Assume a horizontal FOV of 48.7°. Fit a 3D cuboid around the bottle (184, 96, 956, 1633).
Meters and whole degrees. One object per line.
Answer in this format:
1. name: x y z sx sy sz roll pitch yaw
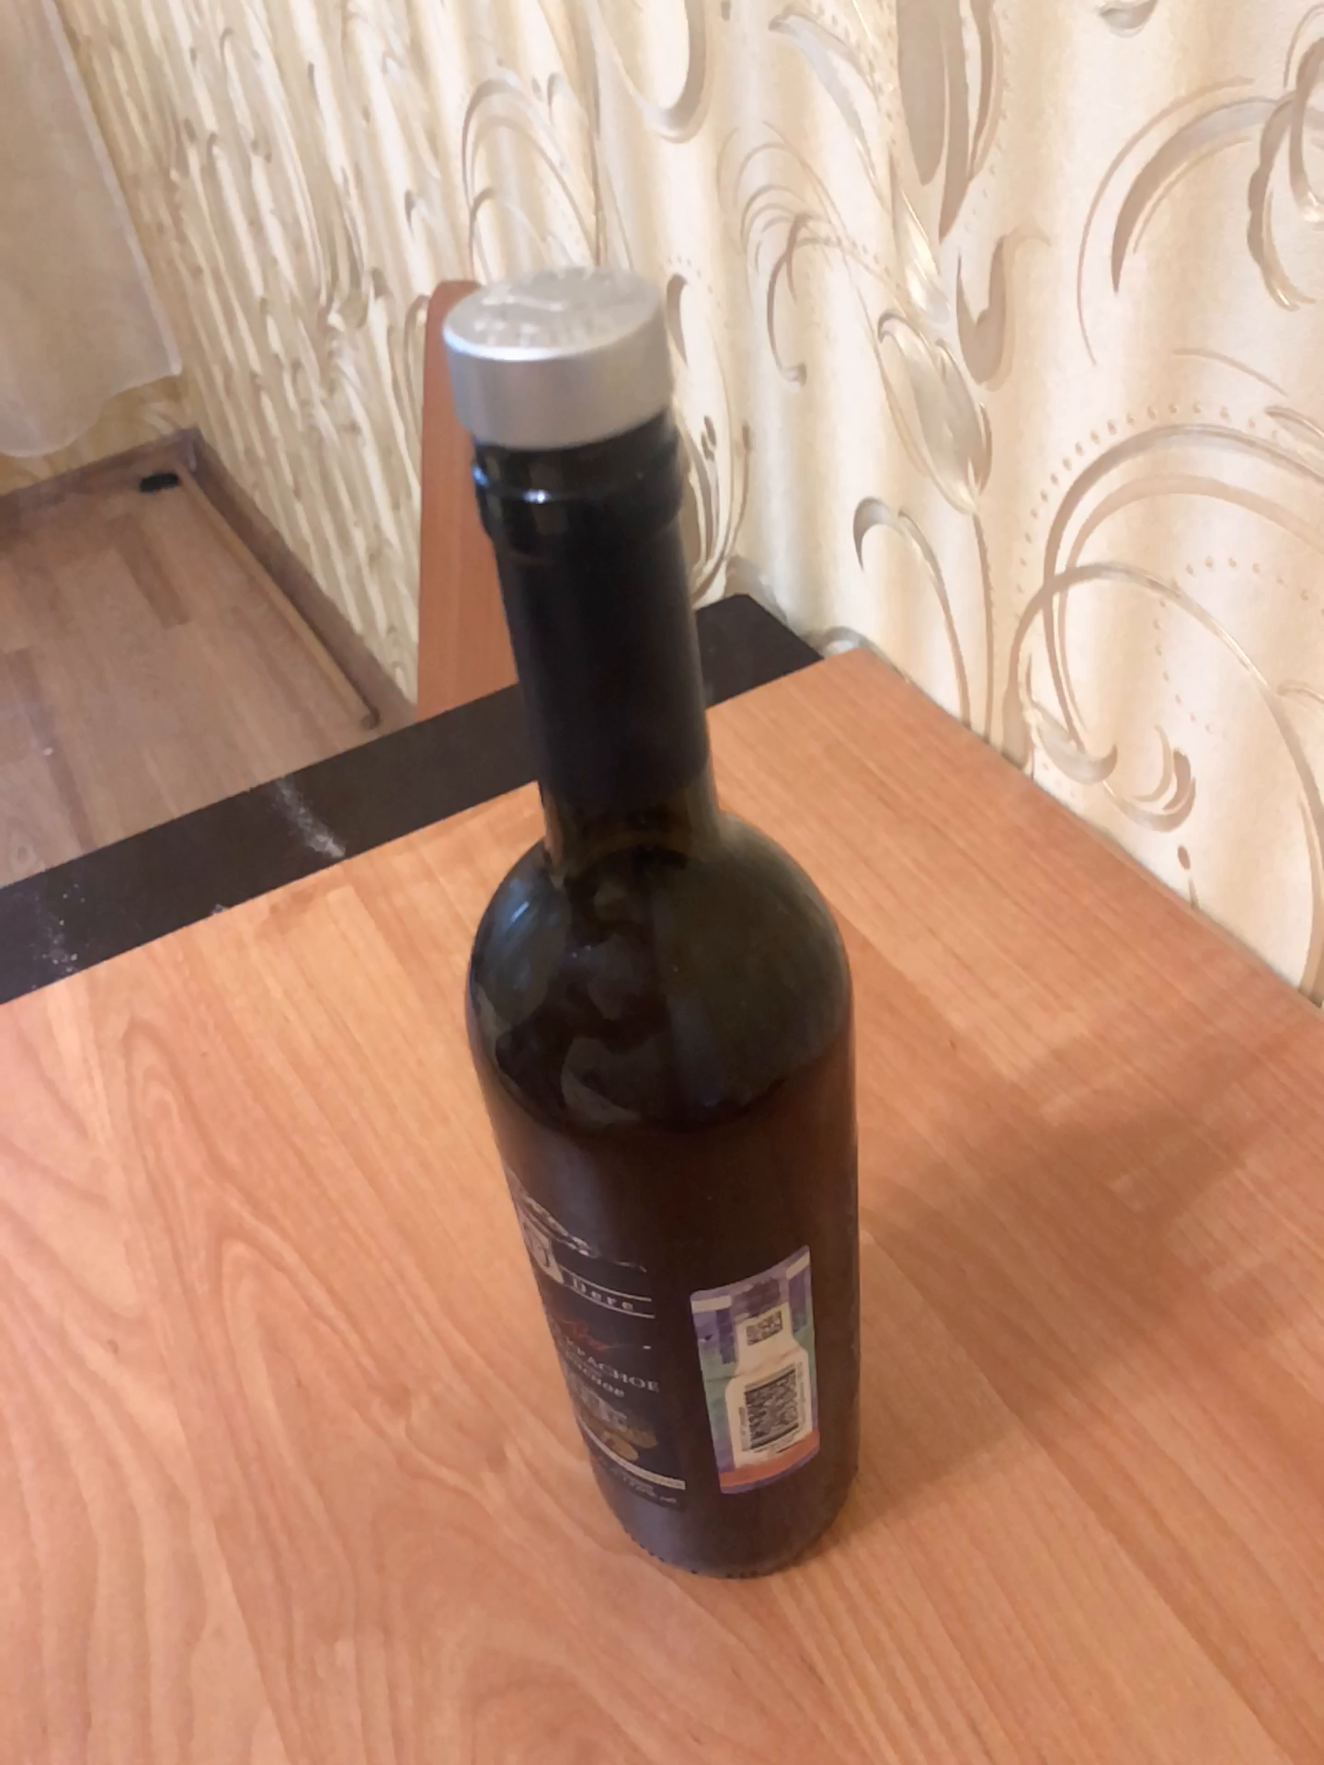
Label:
1. bottle: 0.000 0.033 0.297 0.073 0.322 0.084 -22 44 -15
